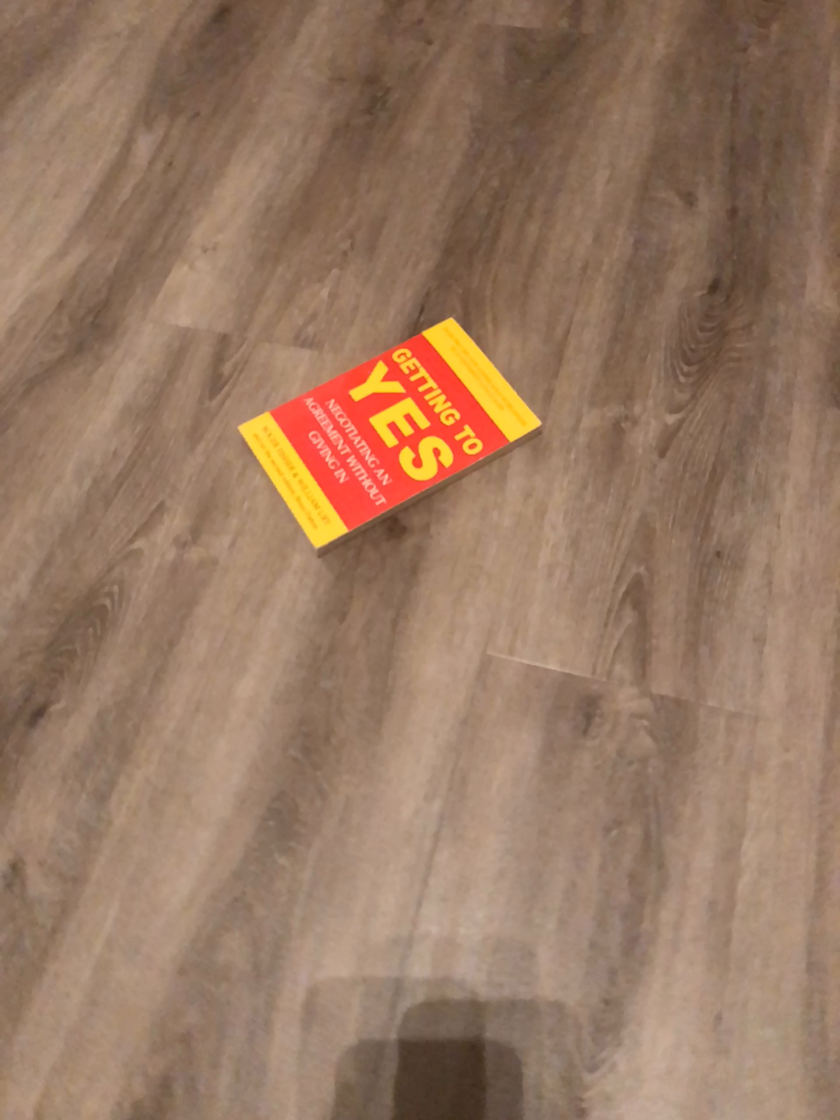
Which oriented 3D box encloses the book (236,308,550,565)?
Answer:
[{"bbox_3d":[-0.020,-0.097,0.689,0.190,0.026,0.130,-30,63,-11],"label":"book"}]
